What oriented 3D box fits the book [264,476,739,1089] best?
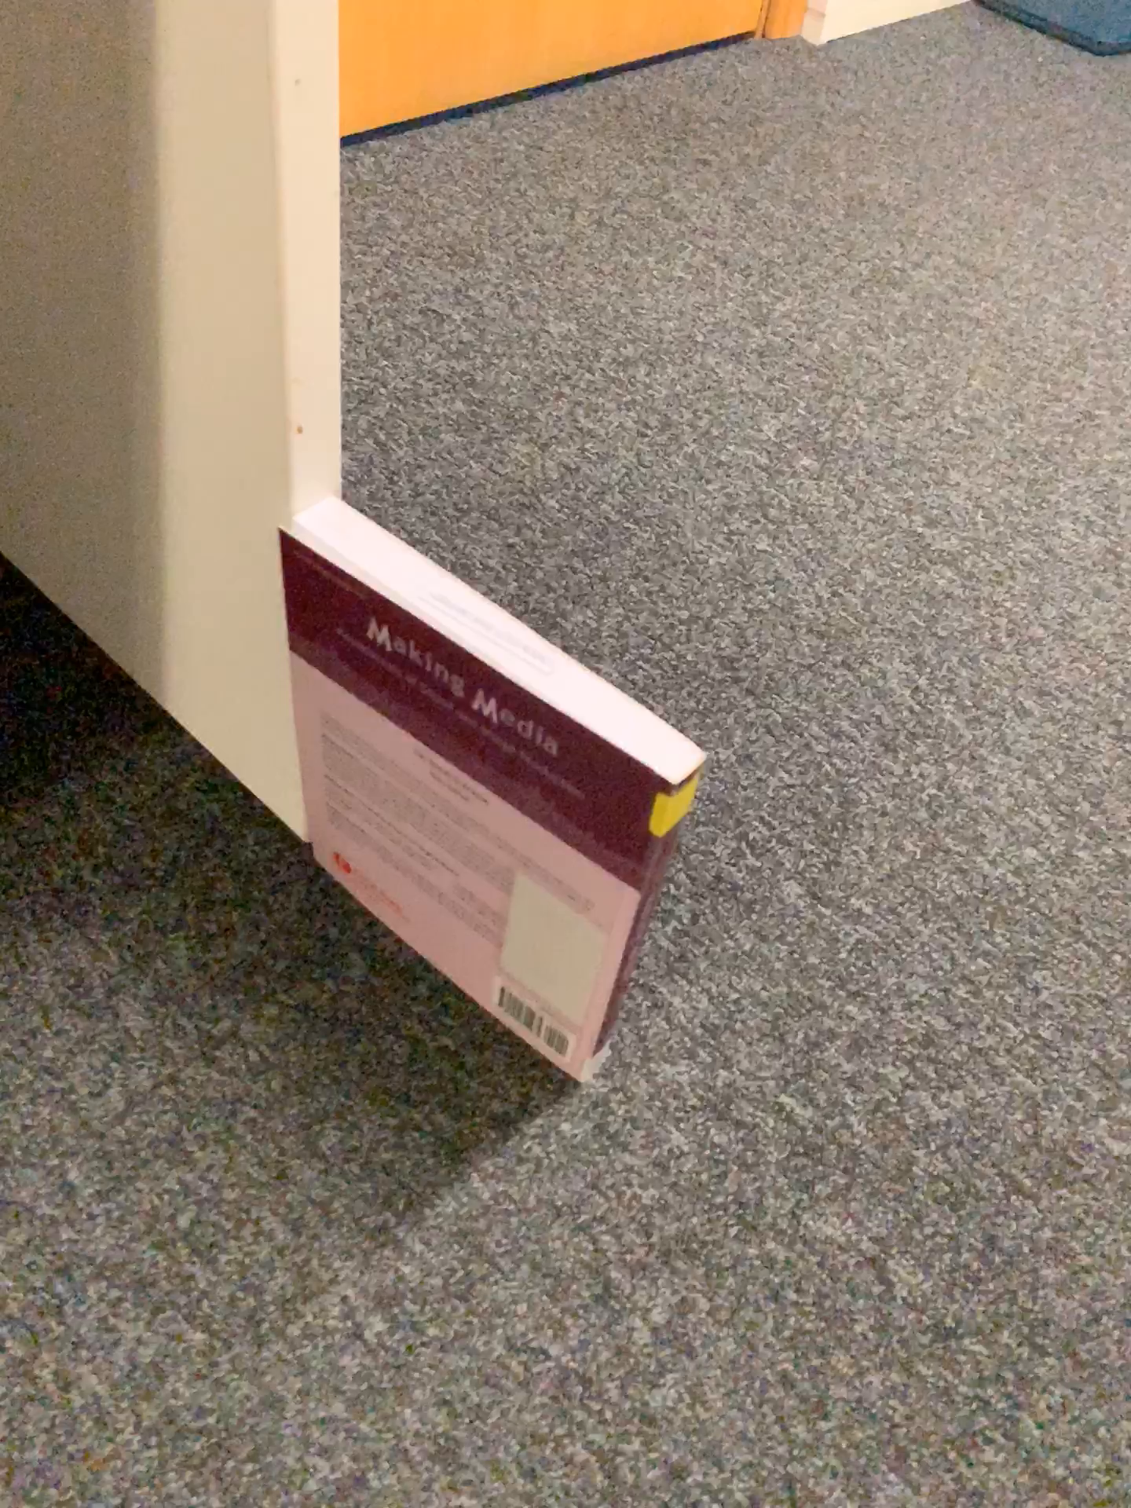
[{"bbox_3d":[-0.042,0.024,0.509,0.201,0.228,0.036,35,54,20],"label":"book"}]
